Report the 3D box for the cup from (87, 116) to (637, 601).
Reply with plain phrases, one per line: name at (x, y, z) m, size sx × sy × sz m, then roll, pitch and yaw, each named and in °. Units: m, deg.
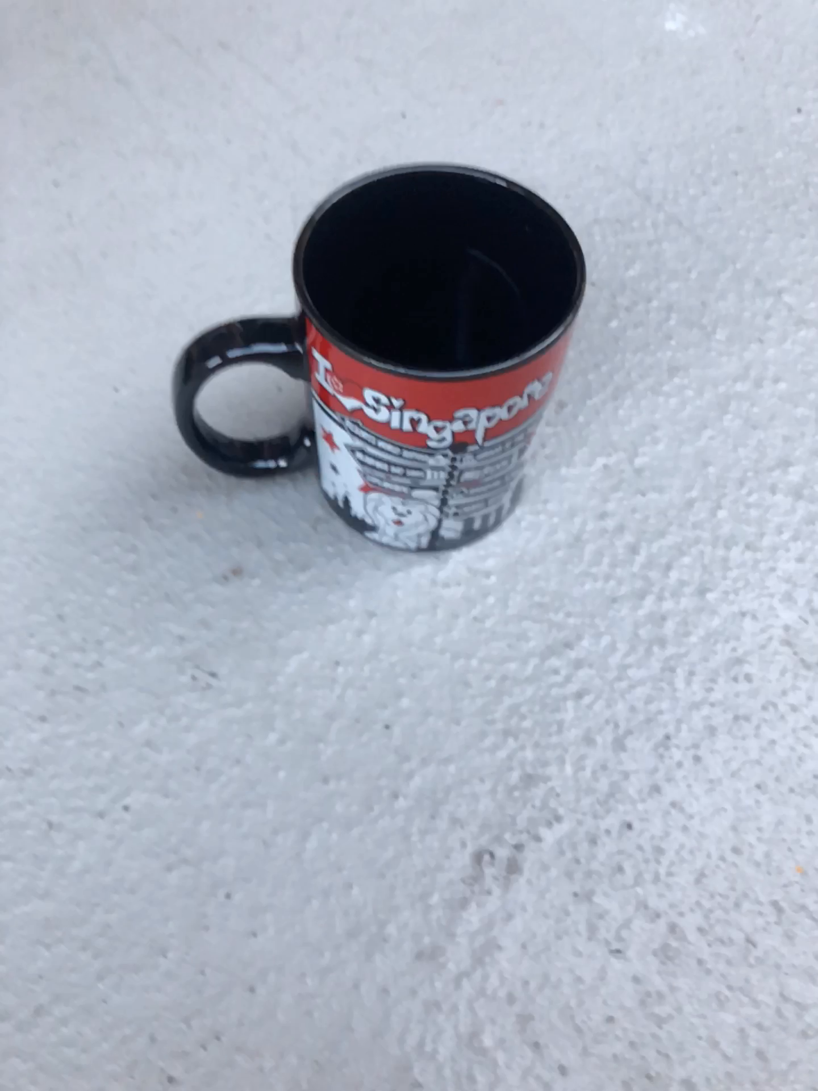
cup at (-0.018, -0.053, 0.284) m, size 0.130 × 0.110 × 0.080 m, roll -8°, pitch 61°, yaw -7°
